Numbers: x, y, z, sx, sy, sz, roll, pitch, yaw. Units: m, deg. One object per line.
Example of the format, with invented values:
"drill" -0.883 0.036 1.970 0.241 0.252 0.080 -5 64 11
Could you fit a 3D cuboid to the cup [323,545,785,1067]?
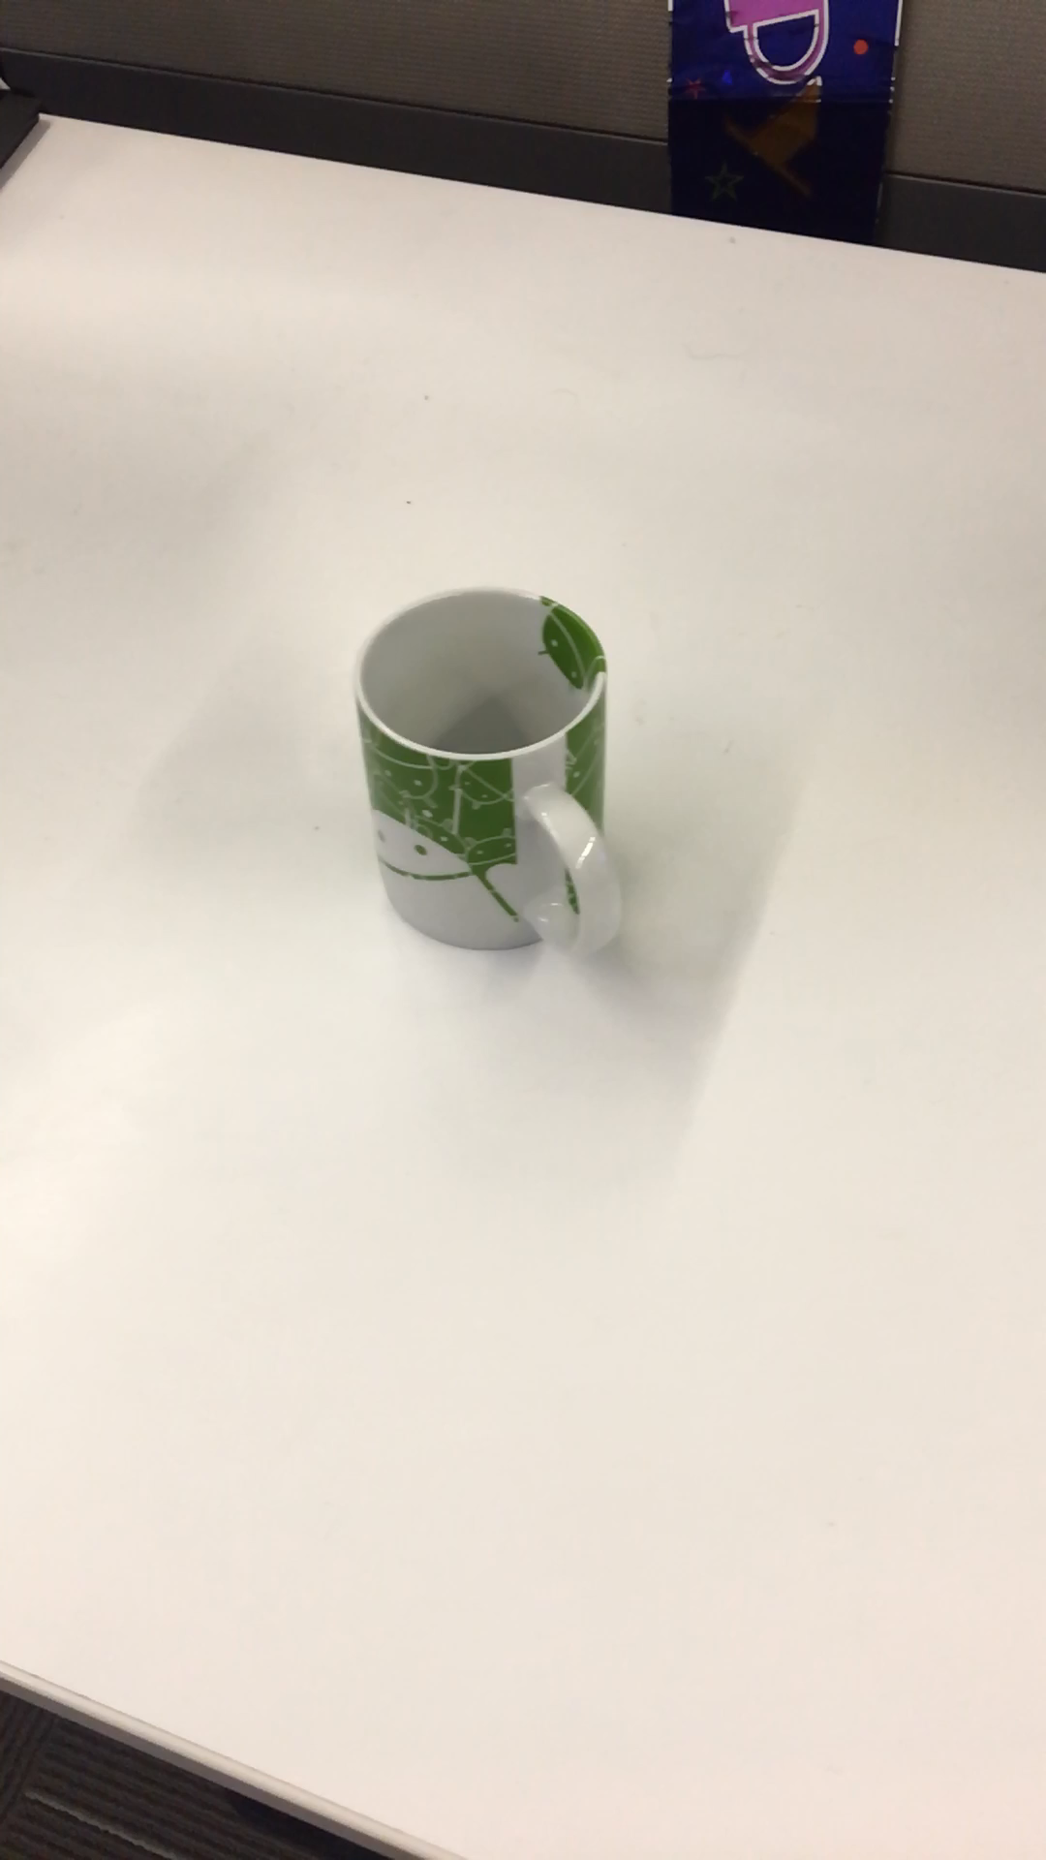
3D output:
"cup" 0.008 -0.043 0.512 0.090 0.090 0.120 -28 56 -19
